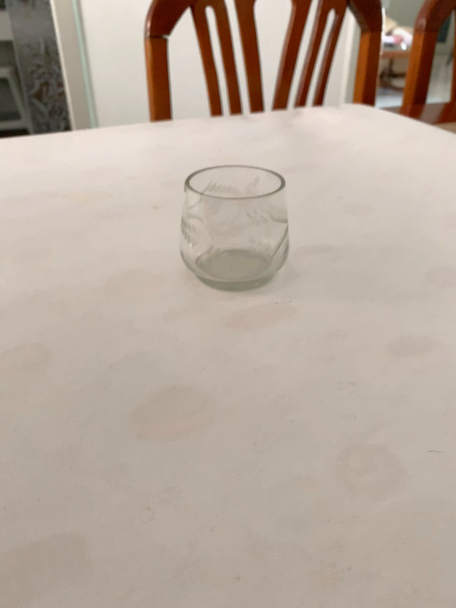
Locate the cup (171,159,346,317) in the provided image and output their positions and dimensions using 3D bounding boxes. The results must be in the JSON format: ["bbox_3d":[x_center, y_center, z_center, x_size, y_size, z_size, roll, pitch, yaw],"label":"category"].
[{"bbox_3d":[0.014,-0.046,0.300,0.080,0.060,0.080,0,34,0],"label":"cup"}]
